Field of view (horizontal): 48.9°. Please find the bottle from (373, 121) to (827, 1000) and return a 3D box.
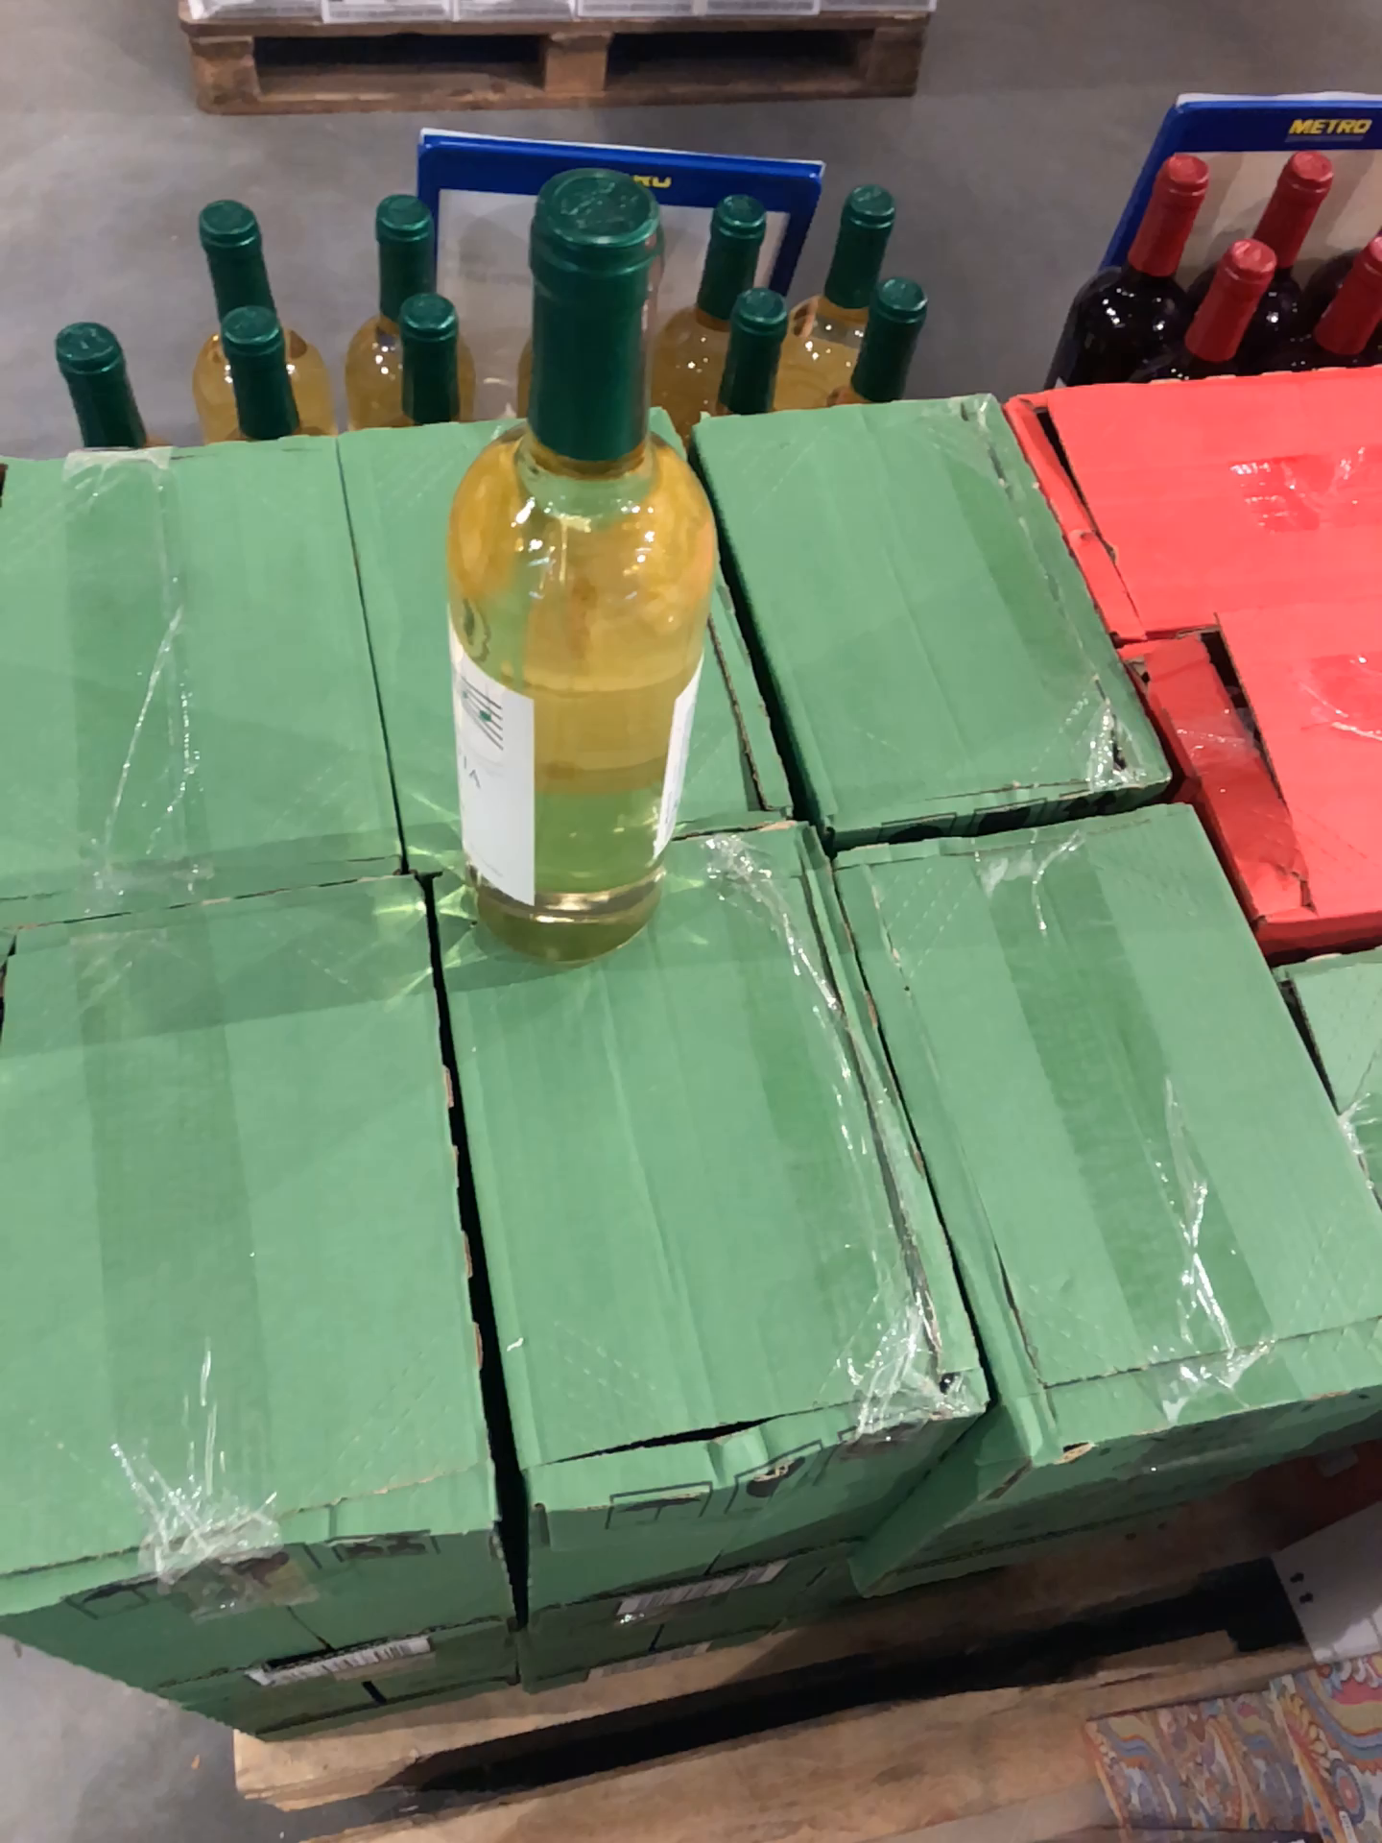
[{"bbox_3d":[-0.033,-0.080,0.441,0.084,0.262,0.080,3,59,-4],"label":"bottle"}]
